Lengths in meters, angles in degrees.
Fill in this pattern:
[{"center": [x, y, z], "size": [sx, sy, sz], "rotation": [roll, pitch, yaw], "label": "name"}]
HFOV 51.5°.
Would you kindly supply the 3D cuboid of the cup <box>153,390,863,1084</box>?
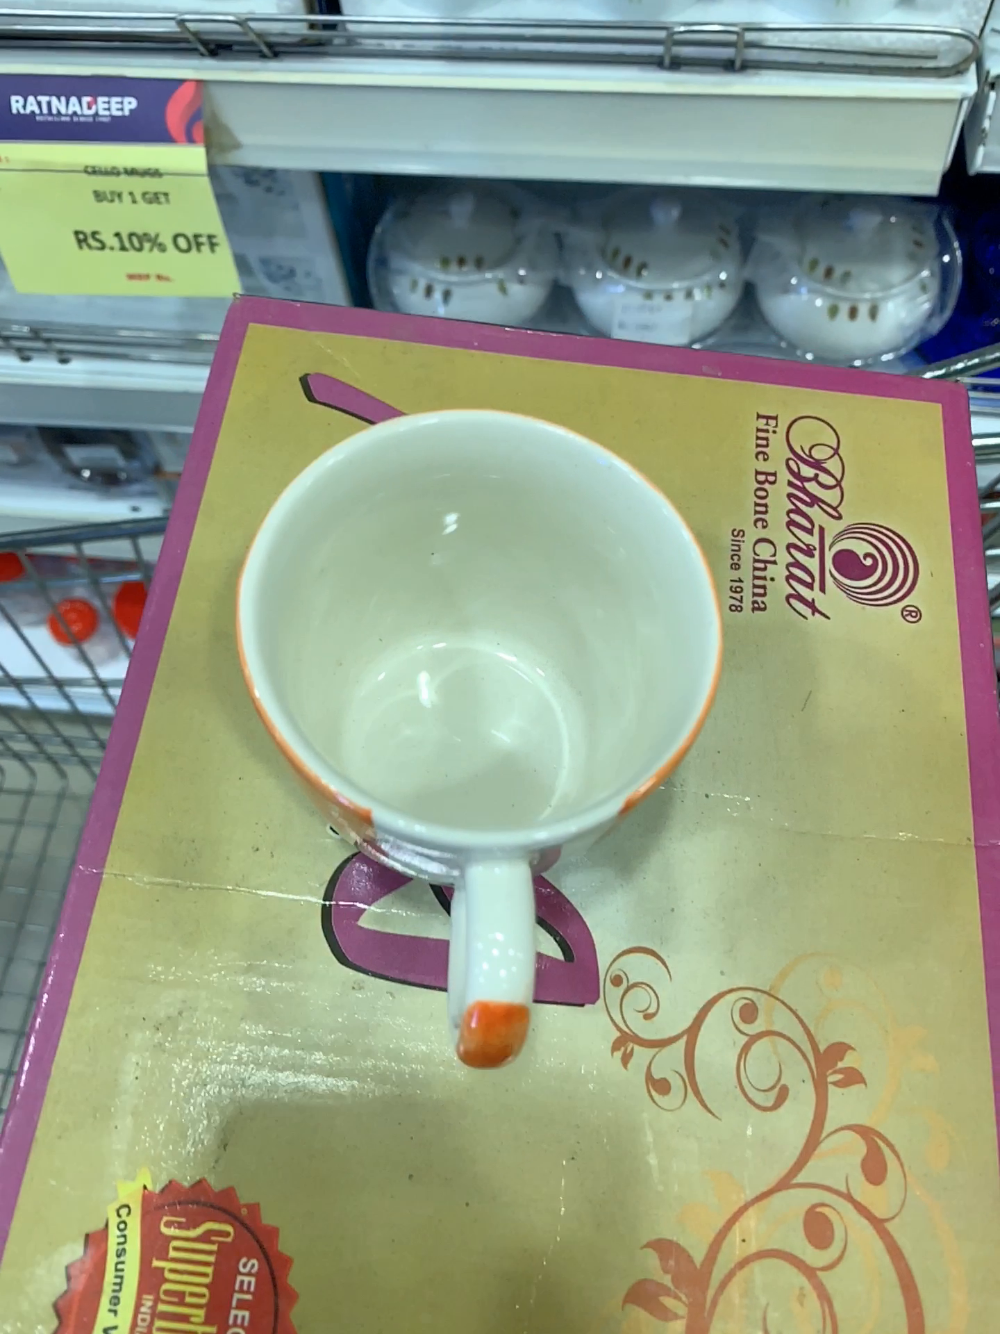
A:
[{"center": [-0.003, 0.015, 0.167], "size": [0.080, 0.070, 0.090], "rotation": [-1, 65, -5], "label": "cup"}]
